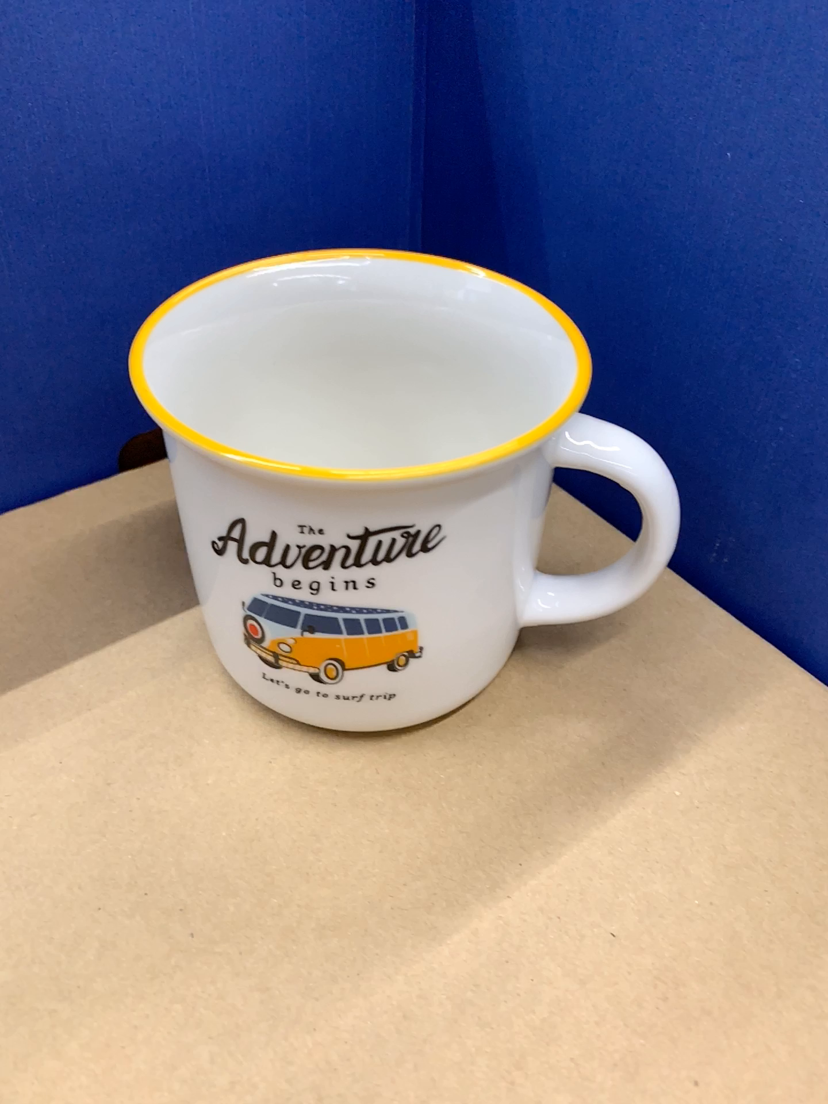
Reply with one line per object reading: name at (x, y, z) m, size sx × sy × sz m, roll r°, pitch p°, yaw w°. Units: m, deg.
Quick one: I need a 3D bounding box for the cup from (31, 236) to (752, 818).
cup at (0.000, -0.012, 0.211) m, size 0.124 × 0.083 × 0.102 m, roll 7°, pitch 40°, yaw 6°
